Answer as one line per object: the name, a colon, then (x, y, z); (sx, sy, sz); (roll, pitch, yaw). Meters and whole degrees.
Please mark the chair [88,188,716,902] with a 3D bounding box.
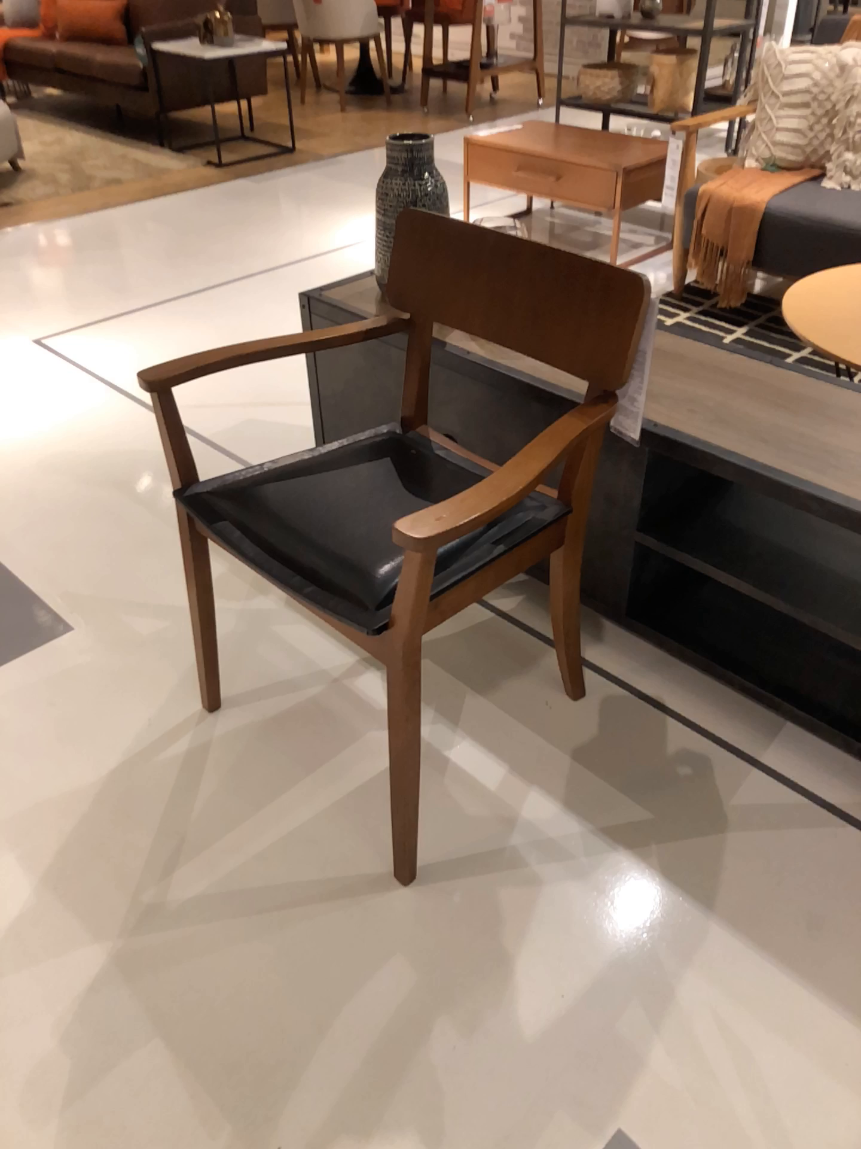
chair: (-0.032, -0.086, 1.418); (0.572, 0.744, 0.562); (-30, 45, -34)
